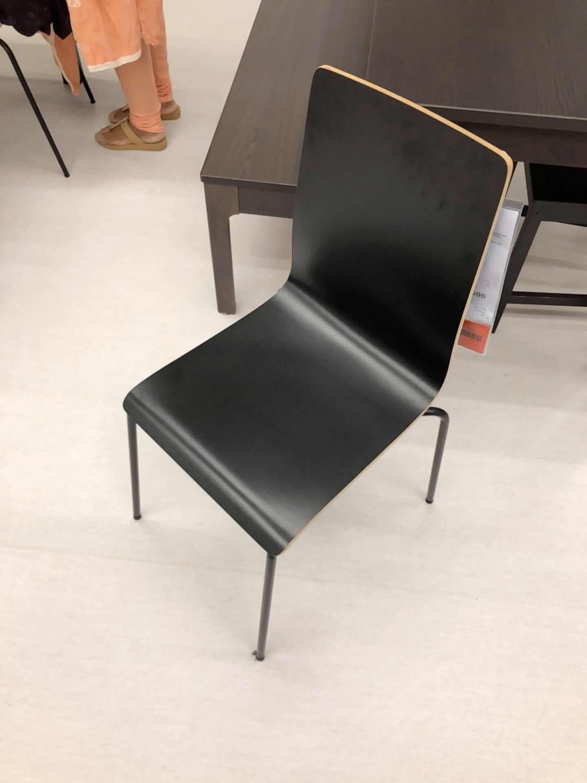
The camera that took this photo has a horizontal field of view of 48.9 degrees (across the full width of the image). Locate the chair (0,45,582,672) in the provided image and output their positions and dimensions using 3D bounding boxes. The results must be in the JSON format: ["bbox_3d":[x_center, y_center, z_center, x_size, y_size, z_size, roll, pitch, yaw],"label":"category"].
[{"bbox_3d":[-0.011,0.004,1.077,0.531,0.806,0.451,-37,63,-25],"label":"chair"}]
